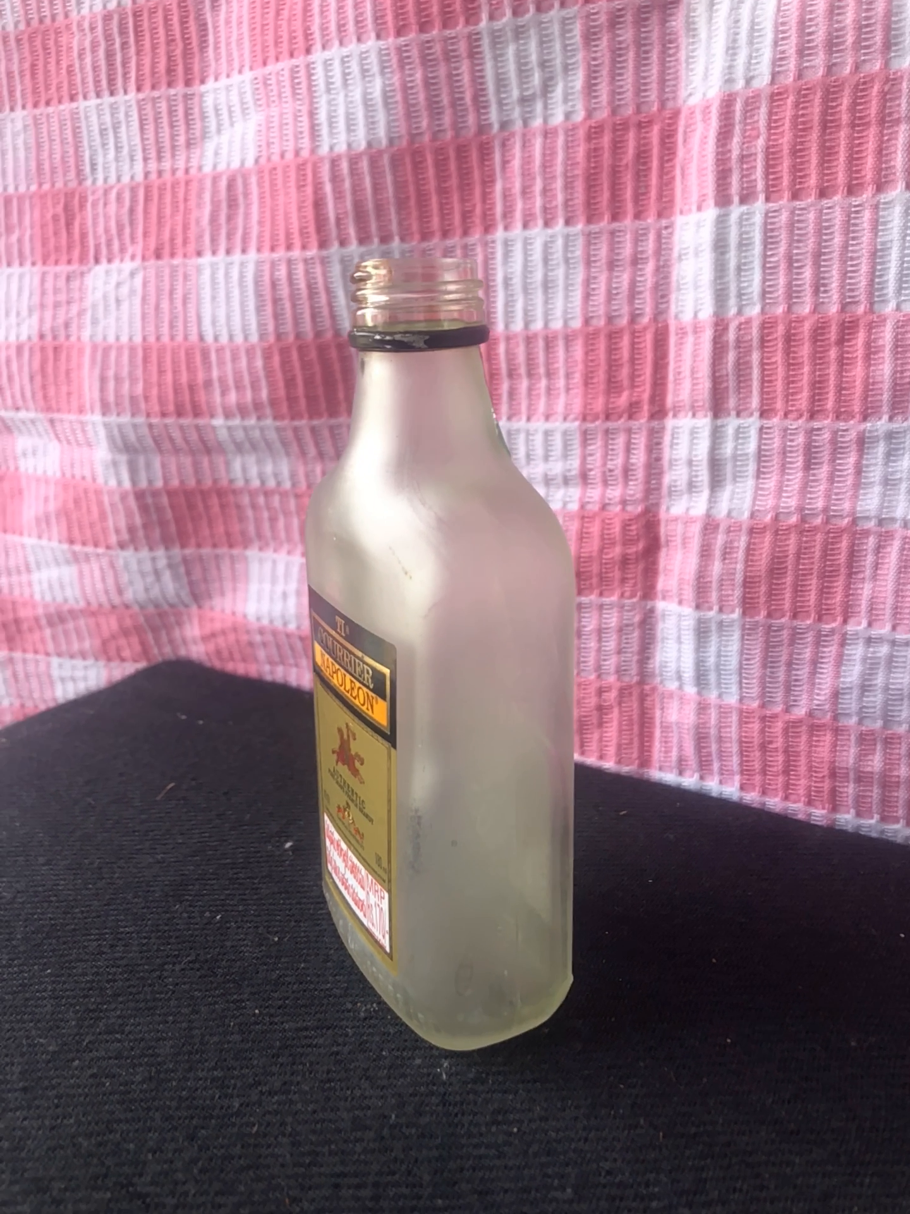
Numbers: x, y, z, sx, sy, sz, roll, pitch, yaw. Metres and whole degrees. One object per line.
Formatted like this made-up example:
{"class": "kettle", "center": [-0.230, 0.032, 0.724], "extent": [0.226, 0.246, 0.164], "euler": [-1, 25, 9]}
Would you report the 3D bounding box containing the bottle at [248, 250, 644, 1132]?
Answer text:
{"class": "bottle", "center": [-0.004, 0.010, 0.198], "extent": [0.040, 0.149, 0.070], "euler": [-10, 20, -27]}
